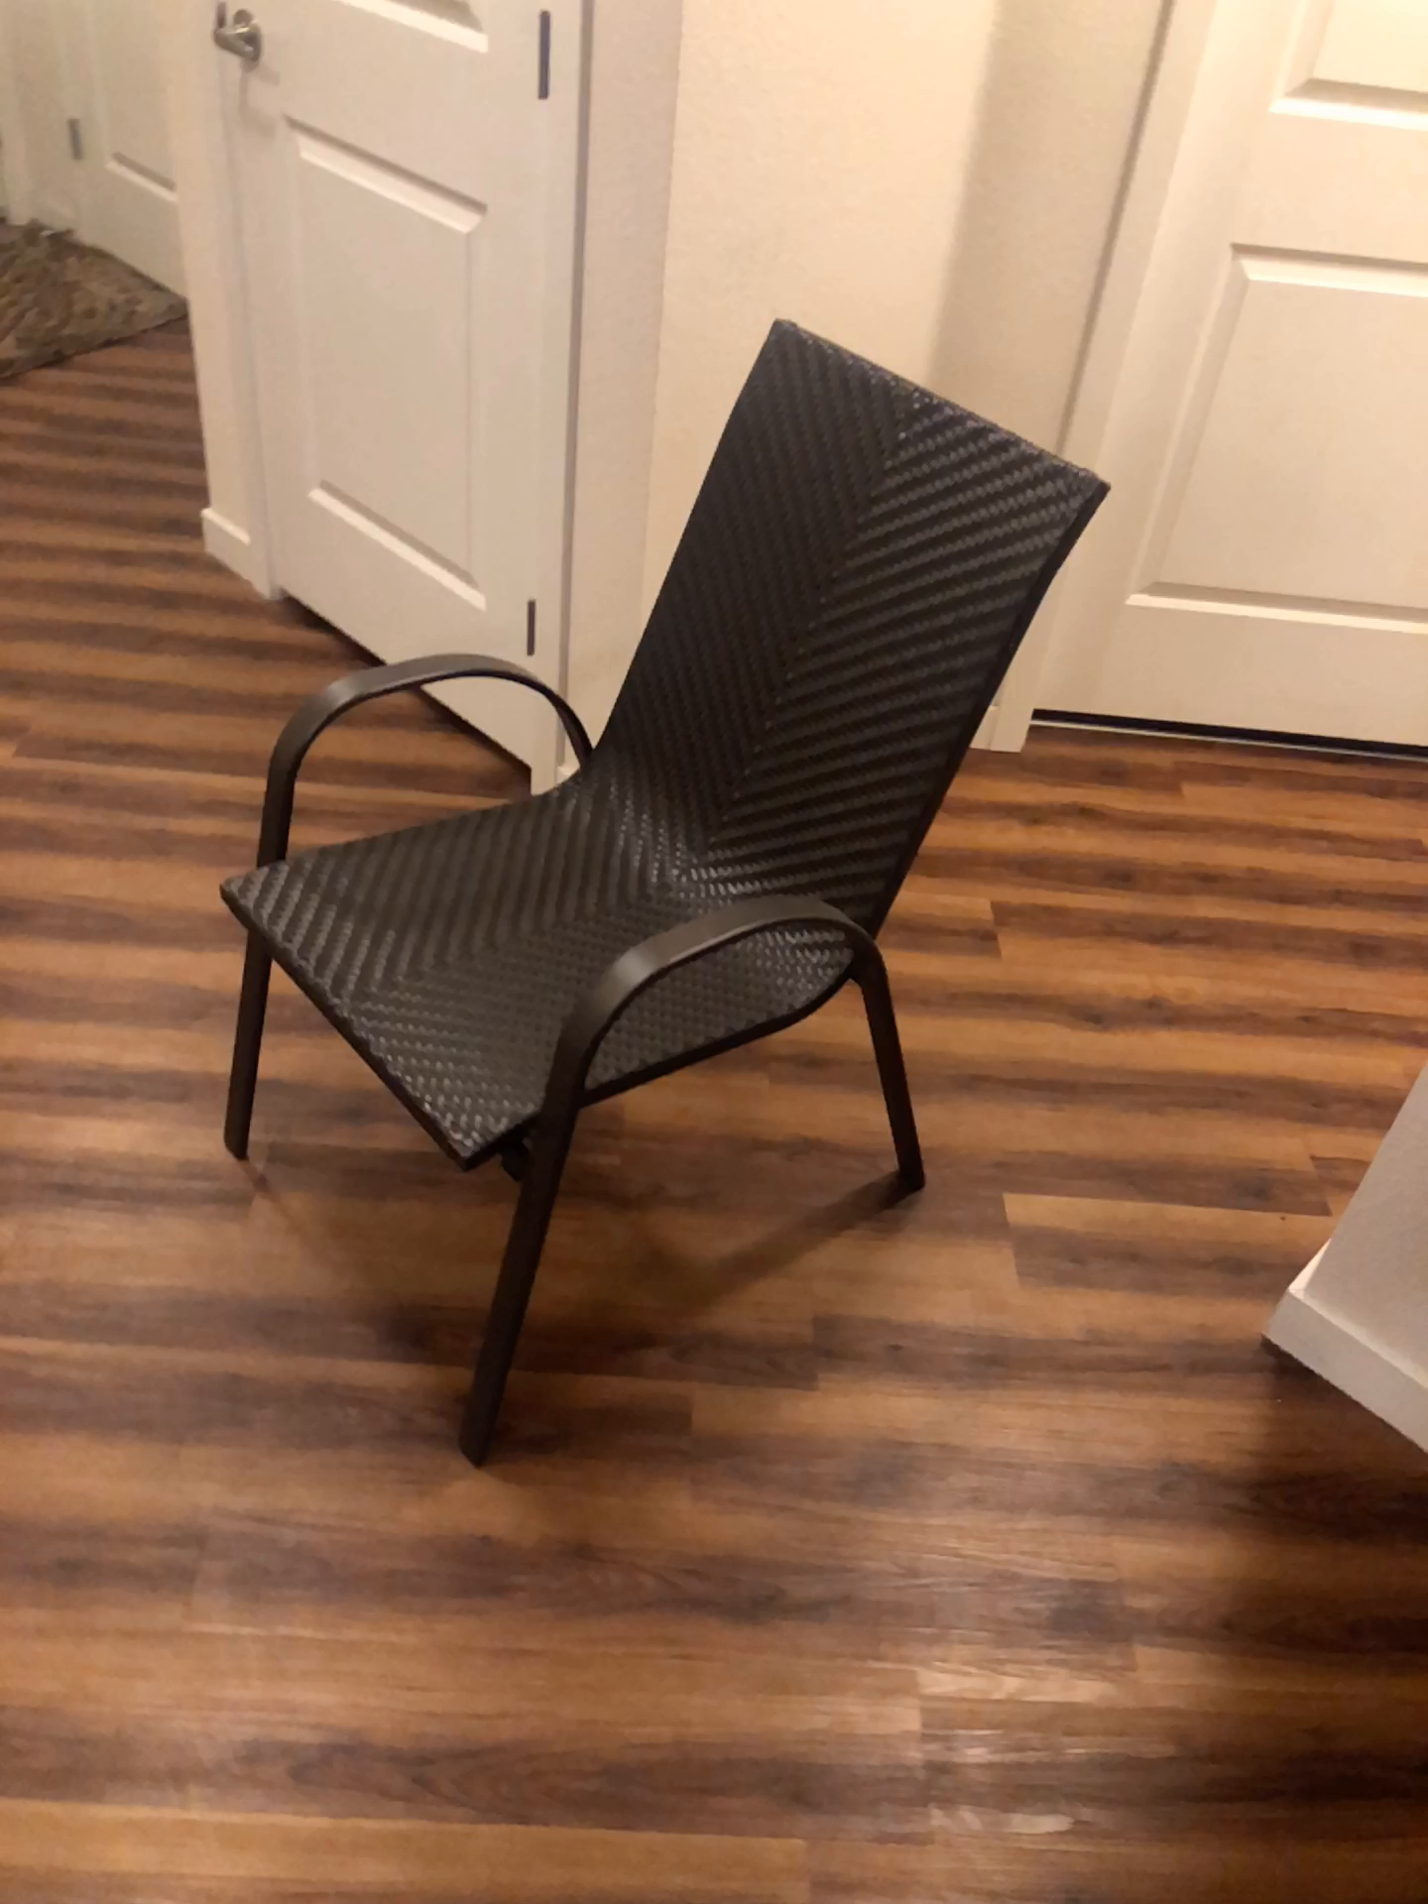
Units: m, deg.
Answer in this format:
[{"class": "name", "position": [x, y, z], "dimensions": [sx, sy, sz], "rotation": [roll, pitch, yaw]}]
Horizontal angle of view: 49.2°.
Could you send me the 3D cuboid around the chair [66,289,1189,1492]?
[{"class": "chair", "position": [-0.104, -0.102, 1.595], "dimensions": [0.749, 0.853, 0.598], "rotation": [-24, 49, -33]}]
